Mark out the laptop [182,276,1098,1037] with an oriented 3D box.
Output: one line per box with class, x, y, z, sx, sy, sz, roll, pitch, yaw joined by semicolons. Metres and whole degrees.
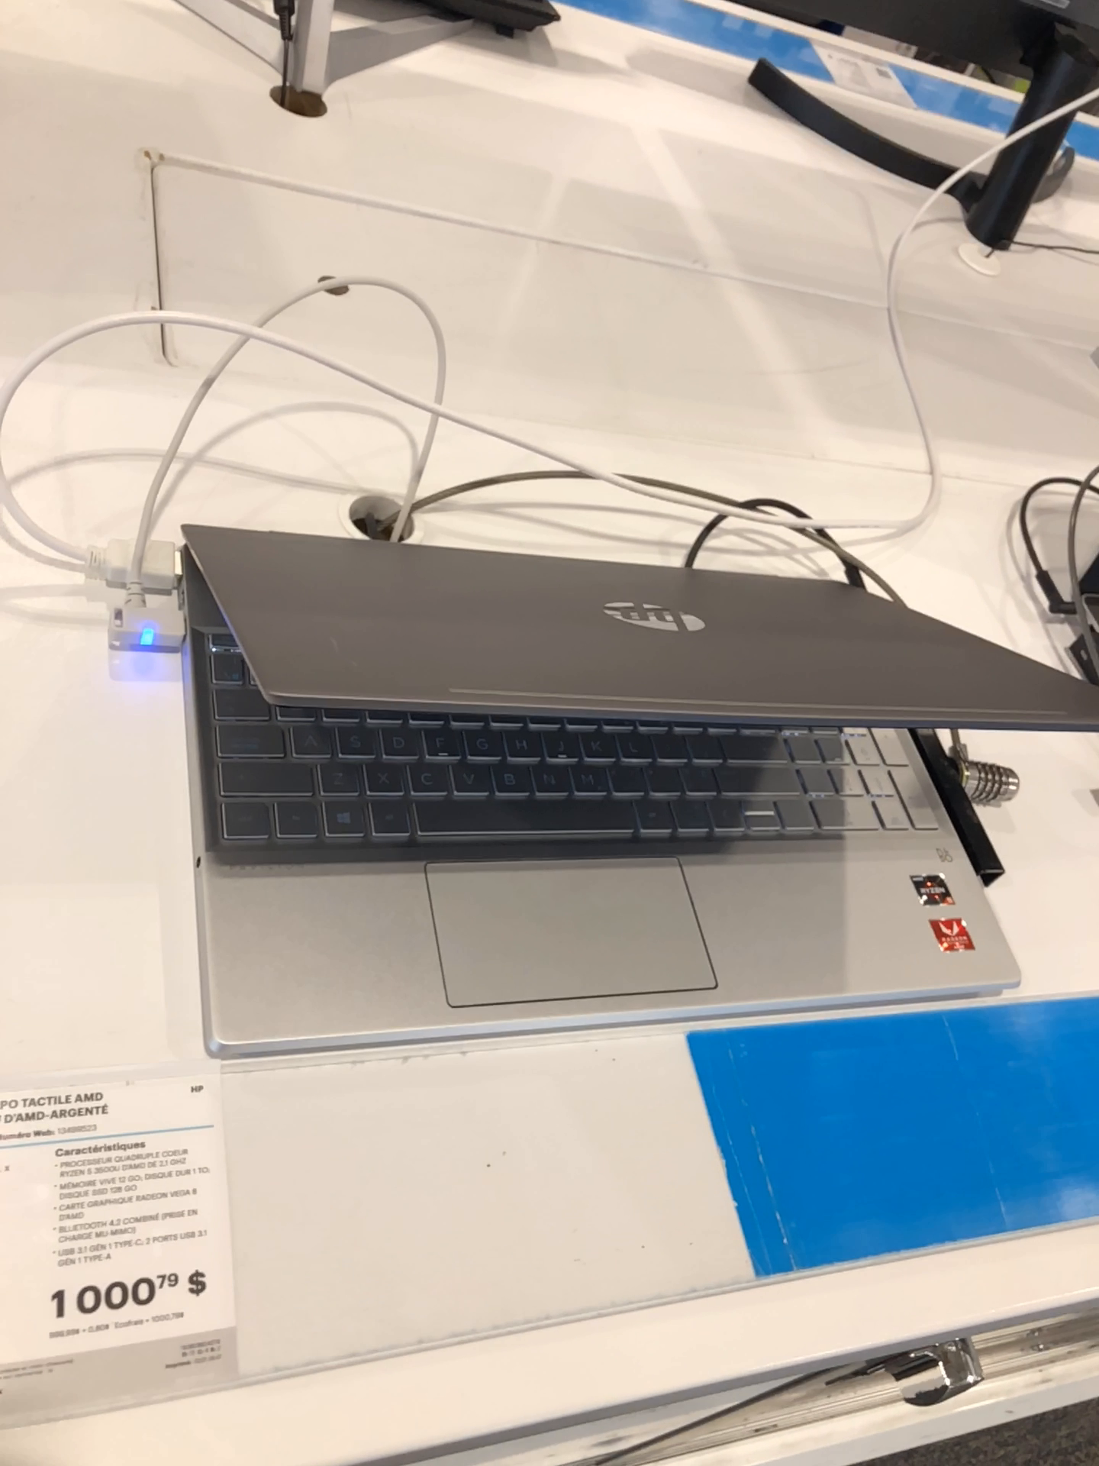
laptop;0.047;-0.027;0.487;0.350;0.134;0.231;2;53;-23
